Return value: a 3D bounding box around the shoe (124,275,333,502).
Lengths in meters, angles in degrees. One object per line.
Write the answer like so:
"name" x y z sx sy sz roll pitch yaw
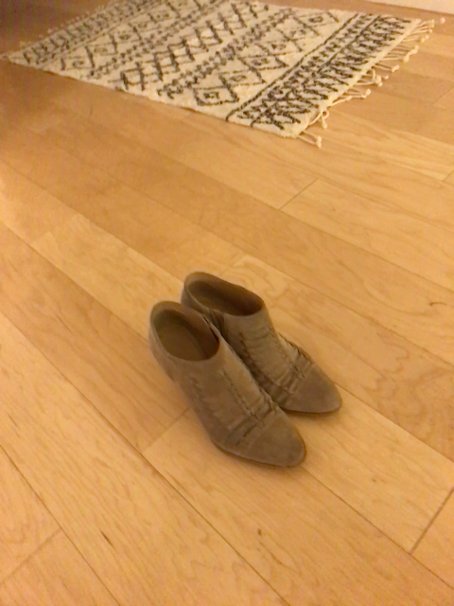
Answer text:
"shoe" -0.002 0.102 0.654 0.110 0.129 0.271 -36 52 -22

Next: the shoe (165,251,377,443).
"shoe" 0.055 0.051 0.681 0.271 0.119 0.100 30 59 31
